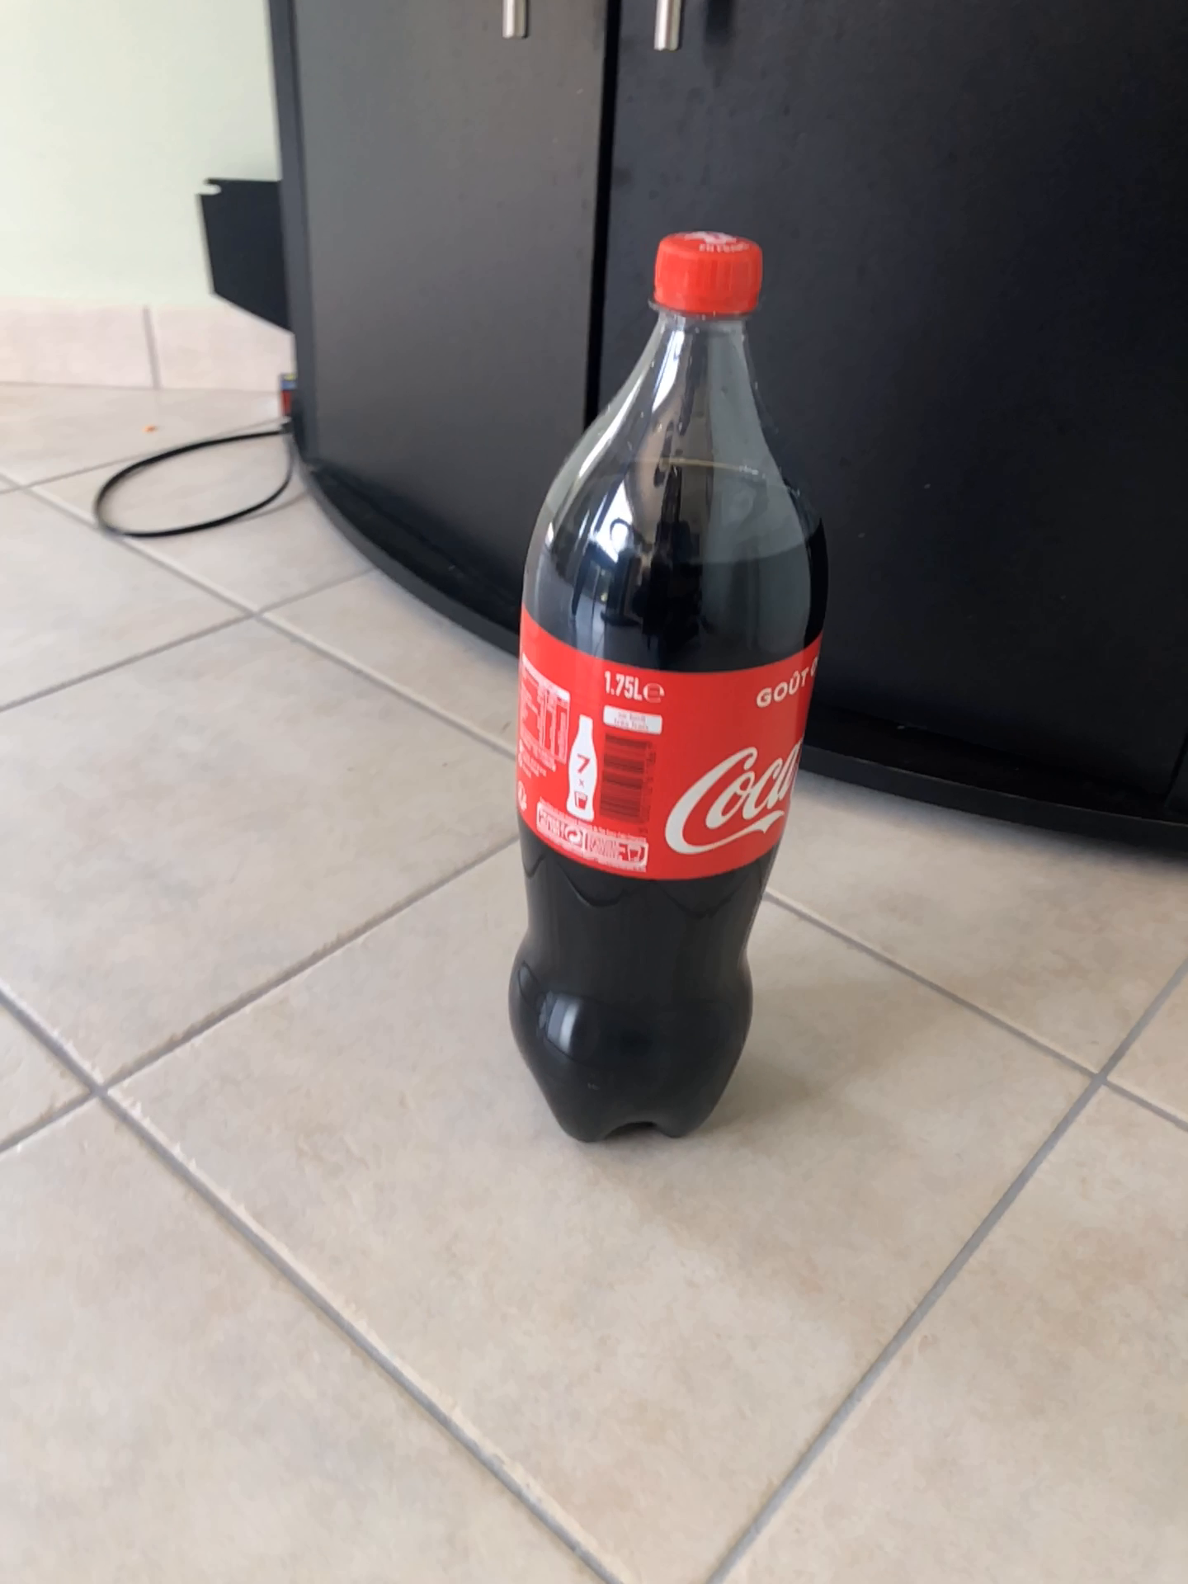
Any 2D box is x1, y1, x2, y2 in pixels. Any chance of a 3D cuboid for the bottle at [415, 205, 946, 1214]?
[{"bbox_3d":[0.018,-0.018,0.443,0.100,0.308,0.111,26,40,30],"label":"bottle"}]
